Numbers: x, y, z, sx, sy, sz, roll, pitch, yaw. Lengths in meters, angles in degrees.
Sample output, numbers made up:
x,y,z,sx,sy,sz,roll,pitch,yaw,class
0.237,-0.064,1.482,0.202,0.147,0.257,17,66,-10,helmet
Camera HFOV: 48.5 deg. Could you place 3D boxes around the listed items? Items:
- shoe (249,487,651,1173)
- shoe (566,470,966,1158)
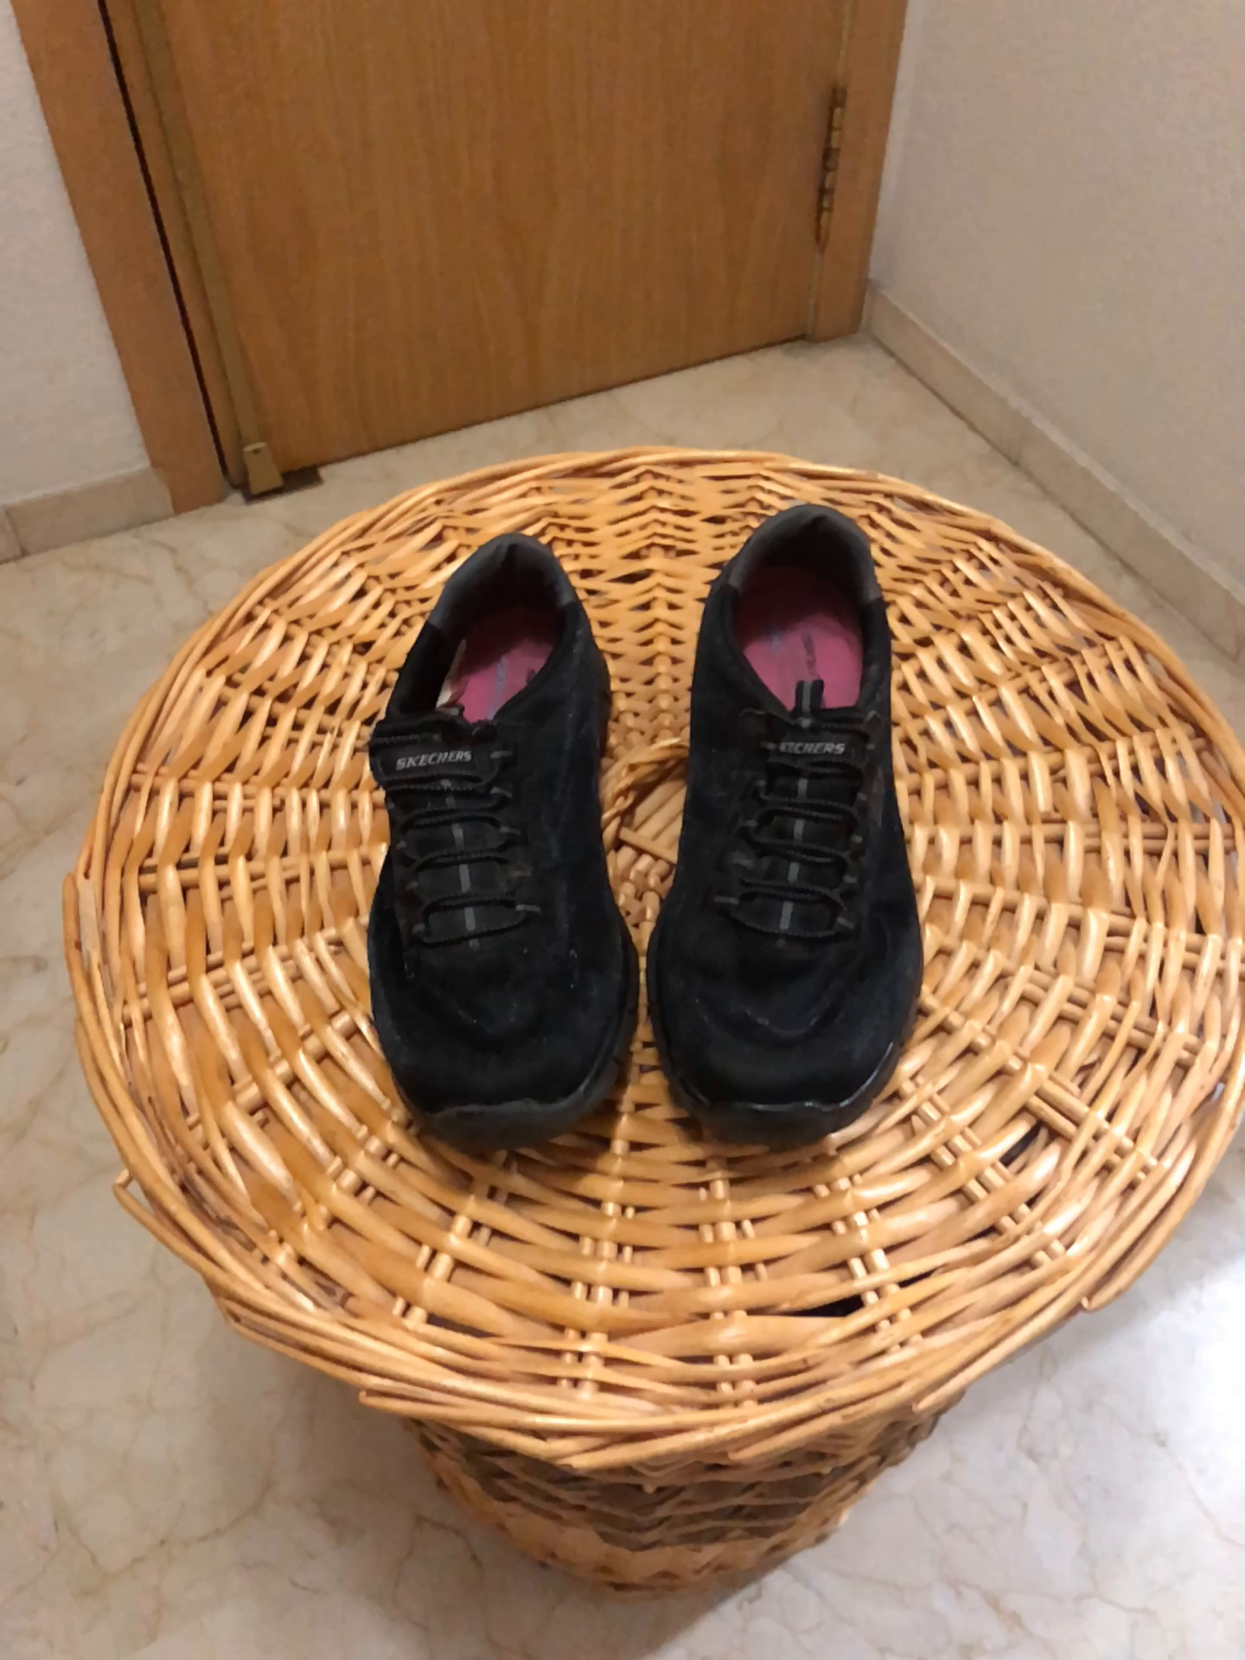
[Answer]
x,y,z,sx,sy,sz,roll,pitch,yaw,class
-0.057,-0.014,0.520,0.117,0.079,0.265,-2,50,-2,shoe
0.052,-0.020,0.521,0.117,0.079,0.265,4,50,3,shoe
